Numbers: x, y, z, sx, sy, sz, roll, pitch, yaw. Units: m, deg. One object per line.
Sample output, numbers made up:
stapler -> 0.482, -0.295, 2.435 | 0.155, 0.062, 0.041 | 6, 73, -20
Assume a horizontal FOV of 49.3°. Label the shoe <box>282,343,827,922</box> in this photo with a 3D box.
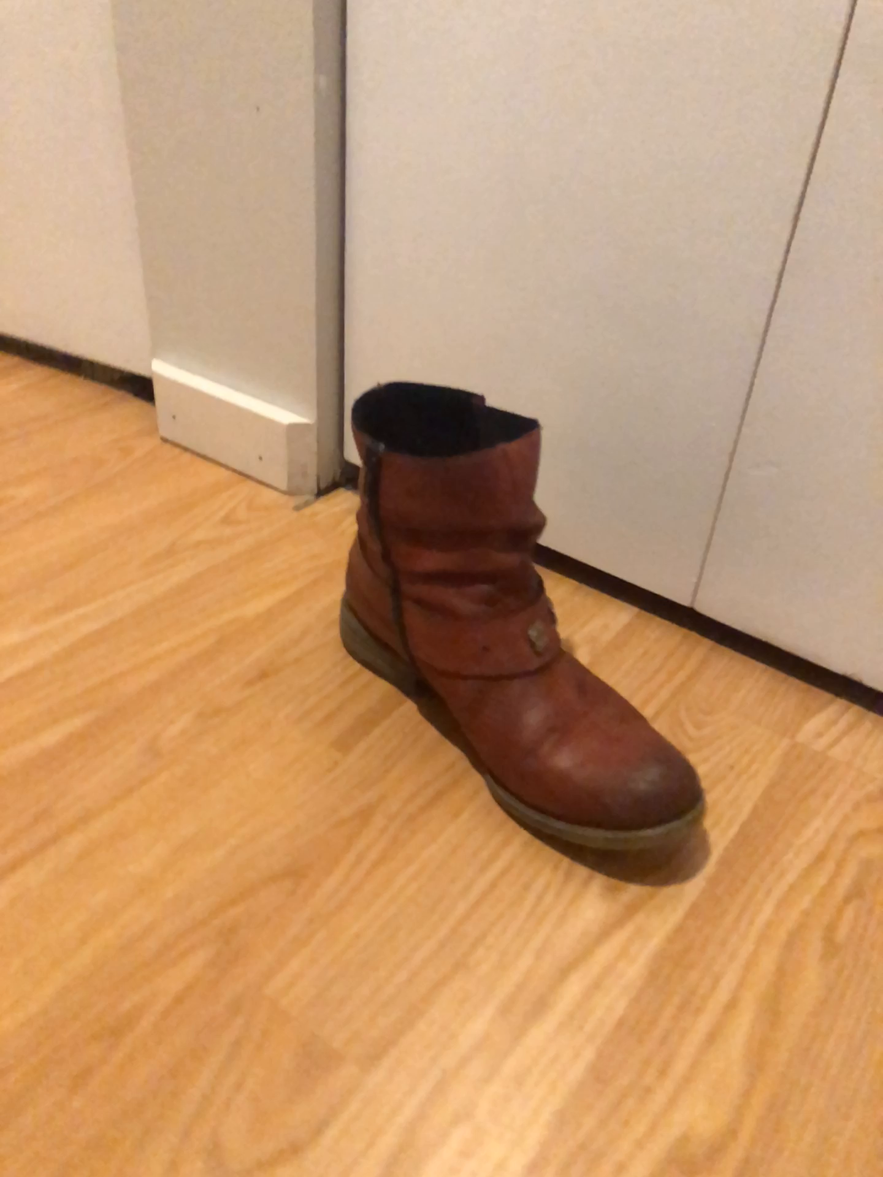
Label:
shoe -> 0.033, 0.005, 0.509 | 0.100, 0.169, 0.271 | -23, 43, -33
